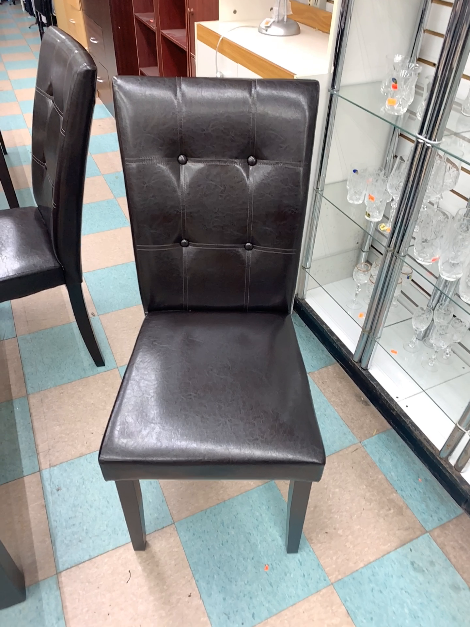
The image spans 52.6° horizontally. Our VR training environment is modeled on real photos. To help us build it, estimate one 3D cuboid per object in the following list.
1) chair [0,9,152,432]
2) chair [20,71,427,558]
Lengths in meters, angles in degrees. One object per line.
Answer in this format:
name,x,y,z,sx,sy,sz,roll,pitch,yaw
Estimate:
chair,-0.728,-0.295,1.463,0.651,0.955,0.673,-19,45,-21
chair,-0.018,0.054,1.079,0.470,0.955,0.573,1,42,0
